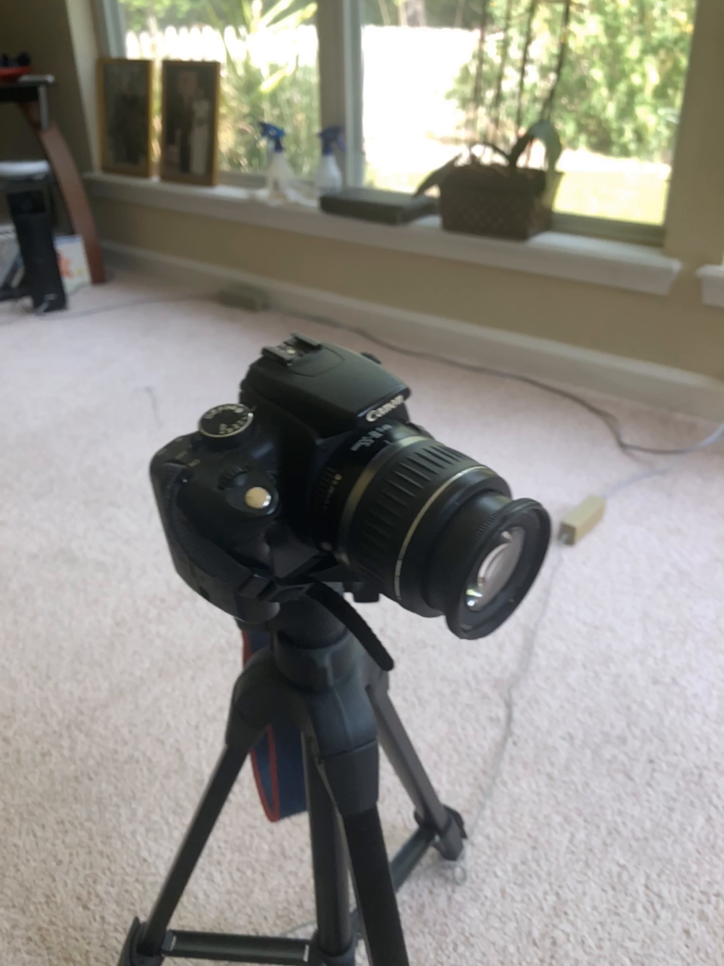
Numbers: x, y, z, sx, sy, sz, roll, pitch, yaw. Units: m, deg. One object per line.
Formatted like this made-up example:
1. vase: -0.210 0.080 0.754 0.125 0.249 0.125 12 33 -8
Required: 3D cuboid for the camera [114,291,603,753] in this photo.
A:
1. camera: 0.000 0.004 0.347 0.142 0.093 0.130 29 49 33
